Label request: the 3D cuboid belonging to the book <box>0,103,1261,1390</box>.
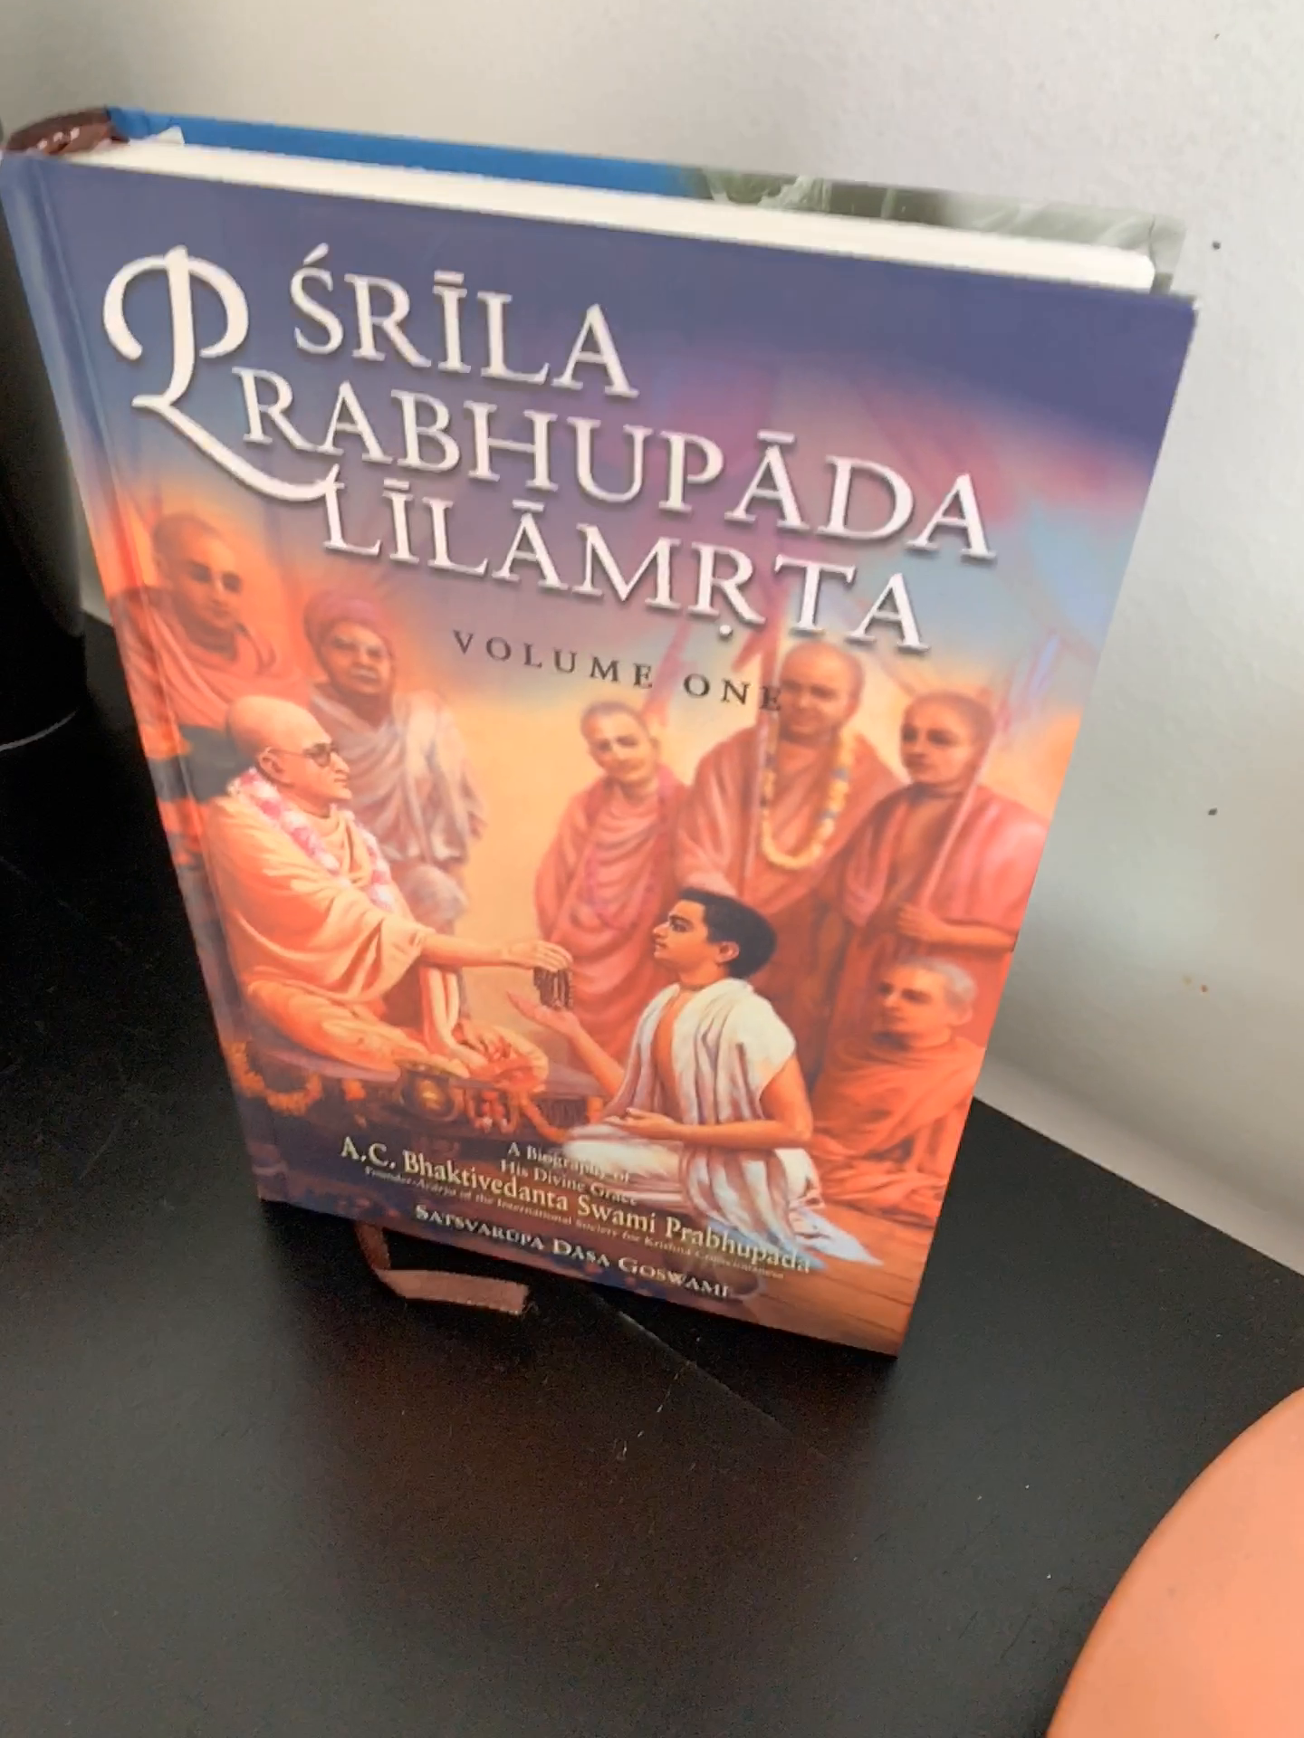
[{"bbox_3d":[-0.012,0.001,0.250,0.161,0.232,0.030,12,41,10],"label":"book"}]
